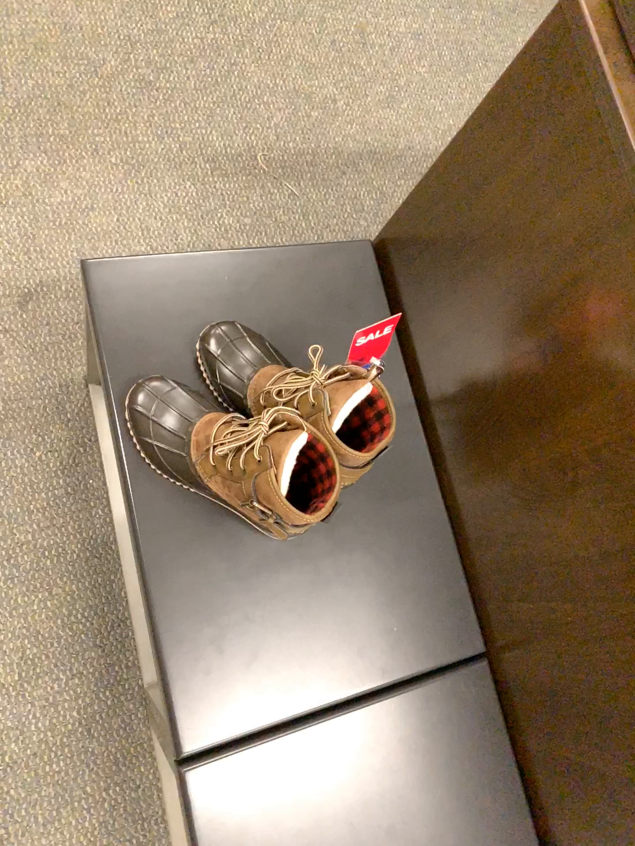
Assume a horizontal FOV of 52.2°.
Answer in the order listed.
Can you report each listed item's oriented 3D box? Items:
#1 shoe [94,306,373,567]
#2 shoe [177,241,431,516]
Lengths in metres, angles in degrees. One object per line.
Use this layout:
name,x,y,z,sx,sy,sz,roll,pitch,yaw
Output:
shoe,-0.092,0.025,0.647,0.240,0.150,0.100,40,67,-5
shoe,-0.023,-0.036,0.681,0.100,0.150,0.240,-39,90,-24
